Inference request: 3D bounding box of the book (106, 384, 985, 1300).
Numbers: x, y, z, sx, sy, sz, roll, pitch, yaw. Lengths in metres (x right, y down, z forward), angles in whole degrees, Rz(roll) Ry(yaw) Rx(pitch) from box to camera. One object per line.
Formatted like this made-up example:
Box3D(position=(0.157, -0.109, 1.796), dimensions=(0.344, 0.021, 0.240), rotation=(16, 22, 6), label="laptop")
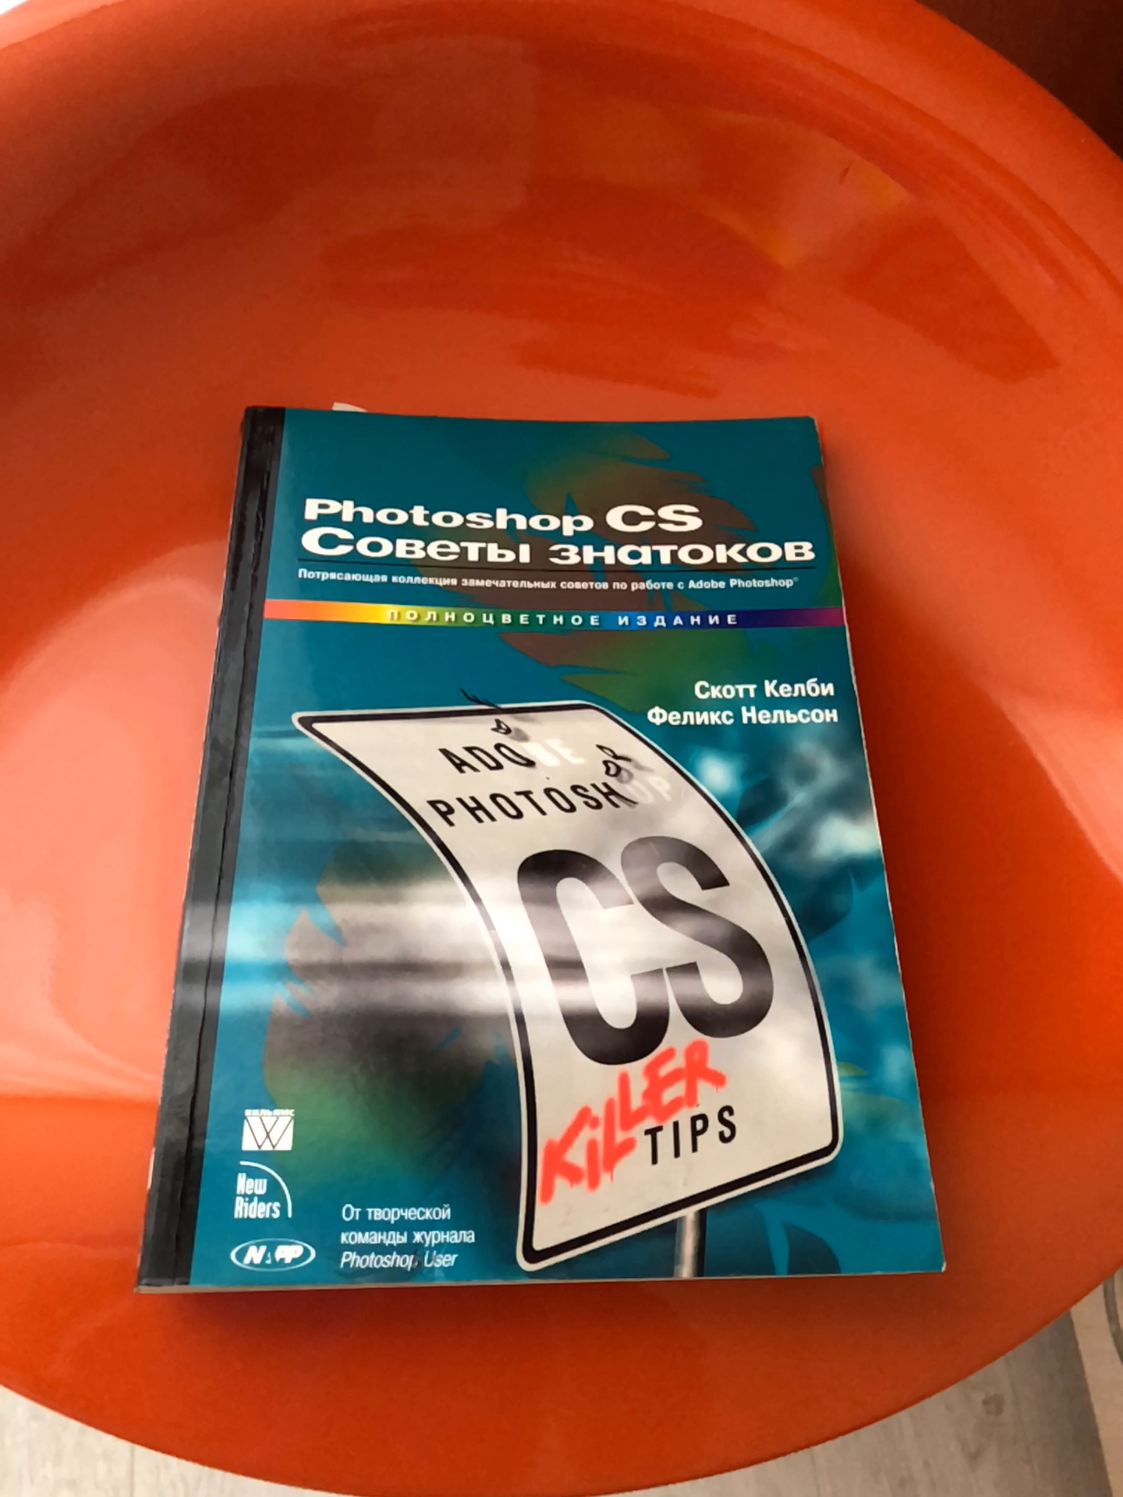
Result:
Box3D(position=(-0.006, 0.007, 0.315), dimensions=(0.174, 0.030, 0.237), rotation=(0, 61, -4), label="book")
